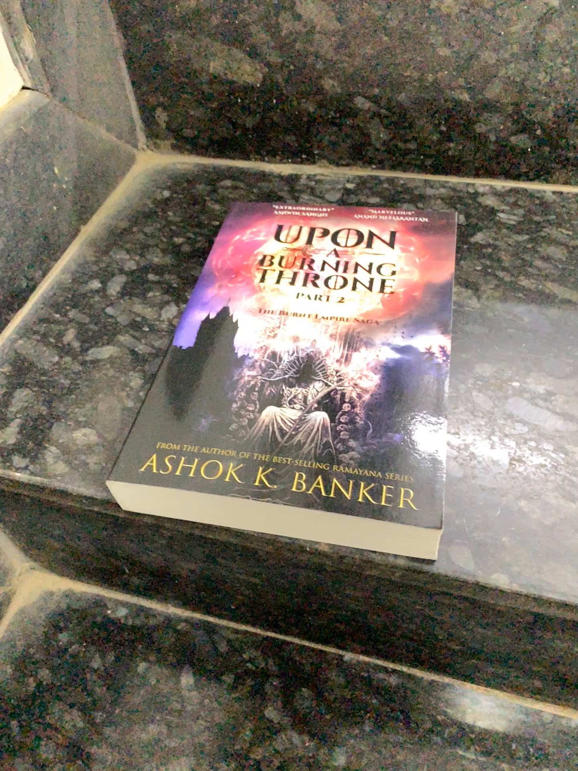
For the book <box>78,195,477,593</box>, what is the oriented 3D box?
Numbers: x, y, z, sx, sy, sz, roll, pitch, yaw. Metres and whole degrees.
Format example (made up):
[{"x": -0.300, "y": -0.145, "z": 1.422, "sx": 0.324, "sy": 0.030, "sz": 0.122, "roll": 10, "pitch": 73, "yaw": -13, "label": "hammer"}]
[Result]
[{"x": 0.012, "y": -0.017, "z": 0.281, "sx": 0.140, "sy": 0.030, "sz": 0.201, "roll": 6, "pitch": 50, "yaw": 10, "label": "book"}]
